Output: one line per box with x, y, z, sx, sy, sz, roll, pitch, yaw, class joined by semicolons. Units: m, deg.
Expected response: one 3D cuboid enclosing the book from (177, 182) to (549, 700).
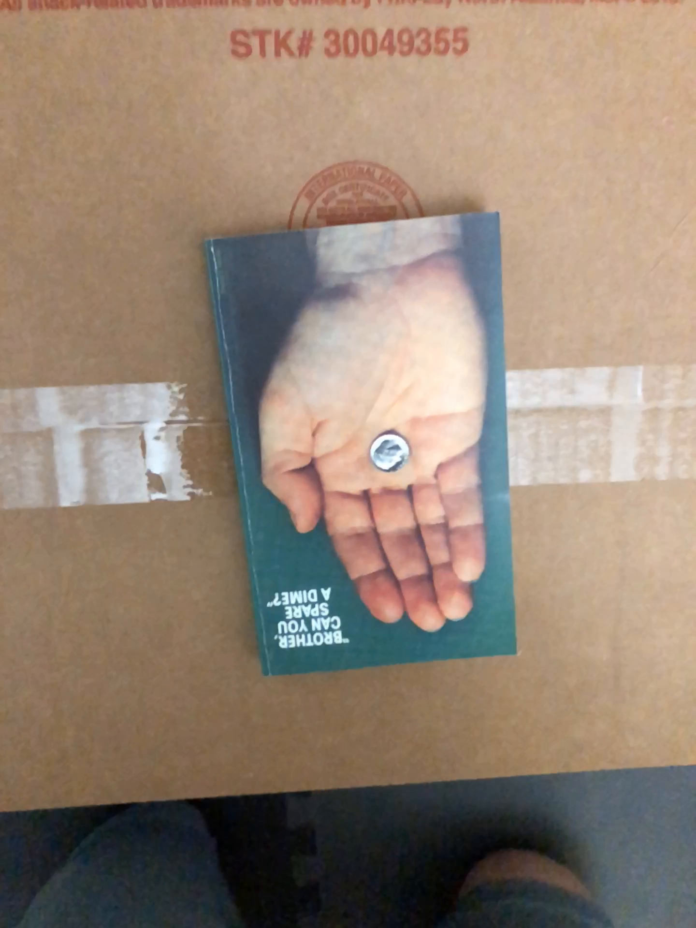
0.011;-0.003;0.288;0.120;0.020;0.180;-6;105;-2;book
